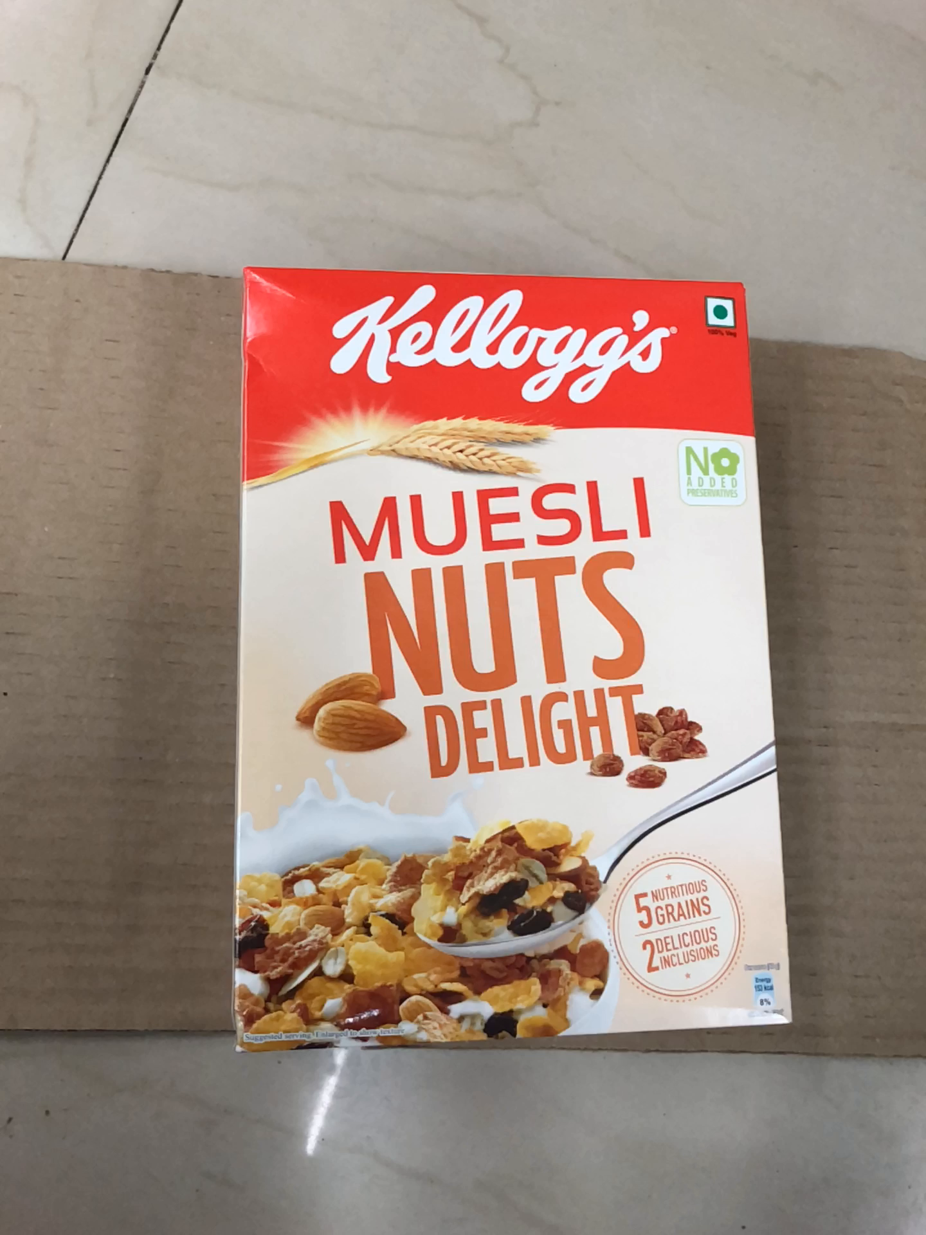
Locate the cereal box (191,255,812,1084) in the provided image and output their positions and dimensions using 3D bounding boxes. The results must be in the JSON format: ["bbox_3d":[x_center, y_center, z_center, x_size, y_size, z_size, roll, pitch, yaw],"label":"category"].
[{"bbox_3d":[0.007,0.013,0.360,0.190,0.080,0.250,-1,85,-7],"label":"cereal box"}]
